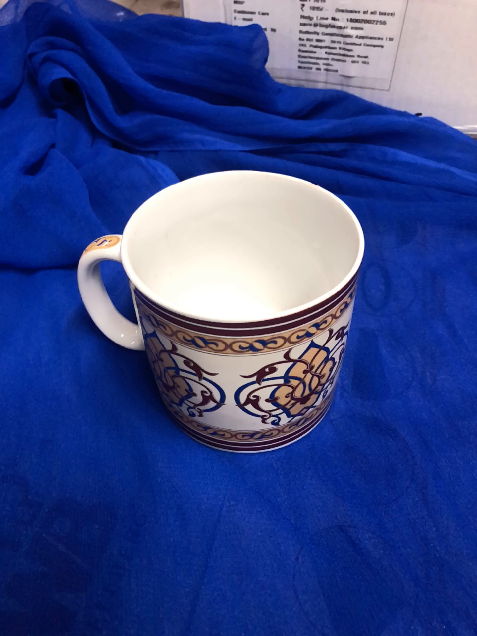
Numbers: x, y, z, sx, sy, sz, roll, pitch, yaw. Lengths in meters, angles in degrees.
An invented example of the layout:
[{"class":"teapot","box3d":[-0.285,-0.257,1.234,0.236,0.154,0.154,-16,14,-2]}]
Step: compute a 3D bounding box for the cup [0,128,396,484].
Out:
[{"class":"cup","box3d":[-0.009,-0.006,0.201,0.110,0.080,0.080,12,48,8]}]
